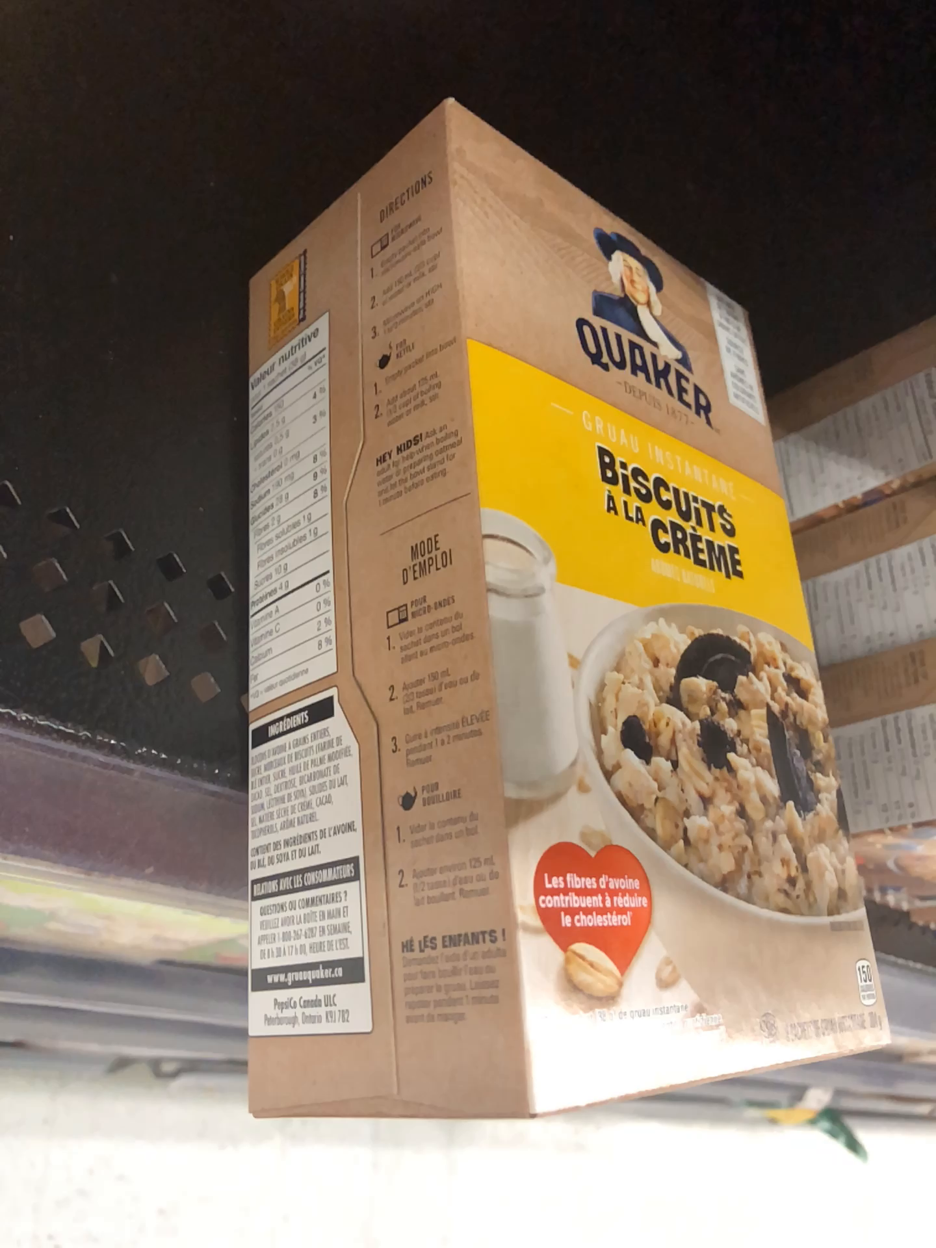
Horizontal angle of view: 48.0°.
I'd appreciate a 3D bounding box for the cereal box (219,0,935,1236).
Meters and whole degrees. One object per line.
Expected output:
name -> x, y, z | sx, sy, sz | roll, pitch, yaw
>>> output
cereal box -> 0.025, 0.001, 0.238 | 0.141, 0.070, 0.210 | 14, 64, -43
